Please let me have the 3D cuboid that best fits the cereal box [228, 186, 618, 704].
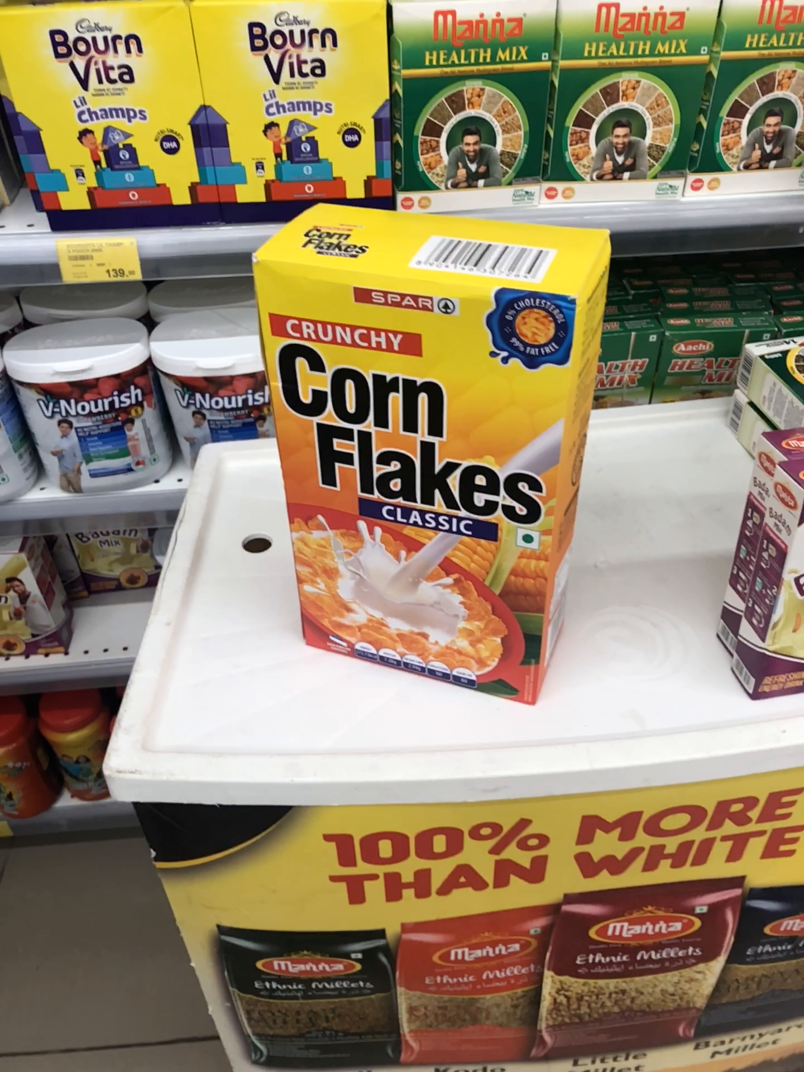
[{"bbox_3d":[0.017,-0.050,0.601,0.200,0.319,0.090,13,42,17],"label":"cereal box"}]
